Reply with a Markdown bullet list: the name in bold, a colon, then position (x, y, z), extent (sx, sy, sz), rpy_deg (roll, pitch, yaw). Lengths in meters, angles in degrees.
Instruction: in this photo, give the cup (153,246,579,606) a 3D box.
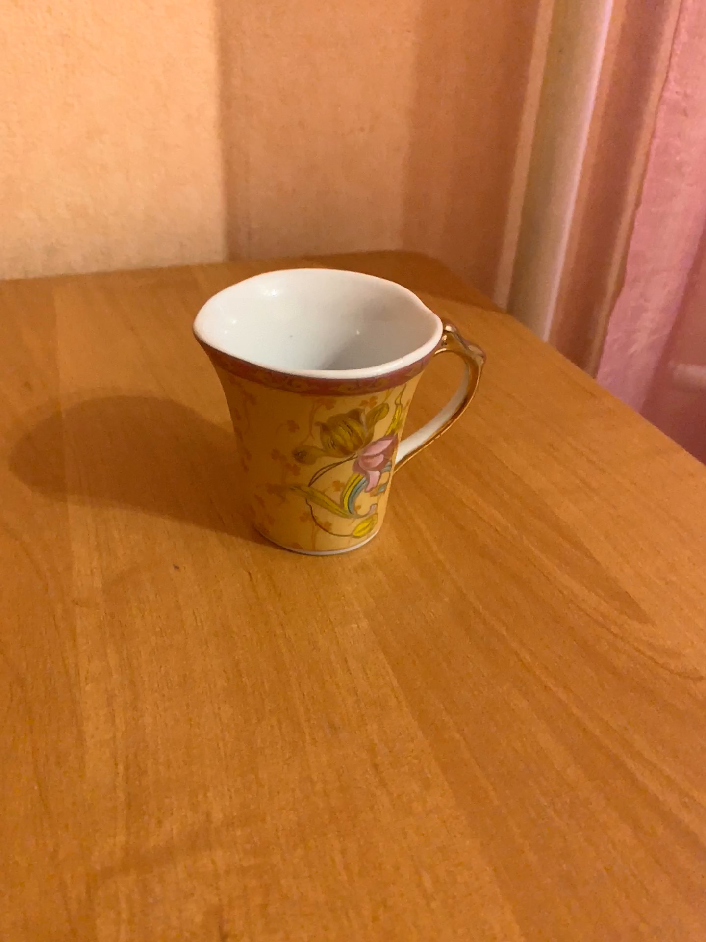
- **cup**: position (0.002, -0.021, 0.221), extent (0.094, 0.061, 0.072), rpy_deg (-18, 39, -27)
